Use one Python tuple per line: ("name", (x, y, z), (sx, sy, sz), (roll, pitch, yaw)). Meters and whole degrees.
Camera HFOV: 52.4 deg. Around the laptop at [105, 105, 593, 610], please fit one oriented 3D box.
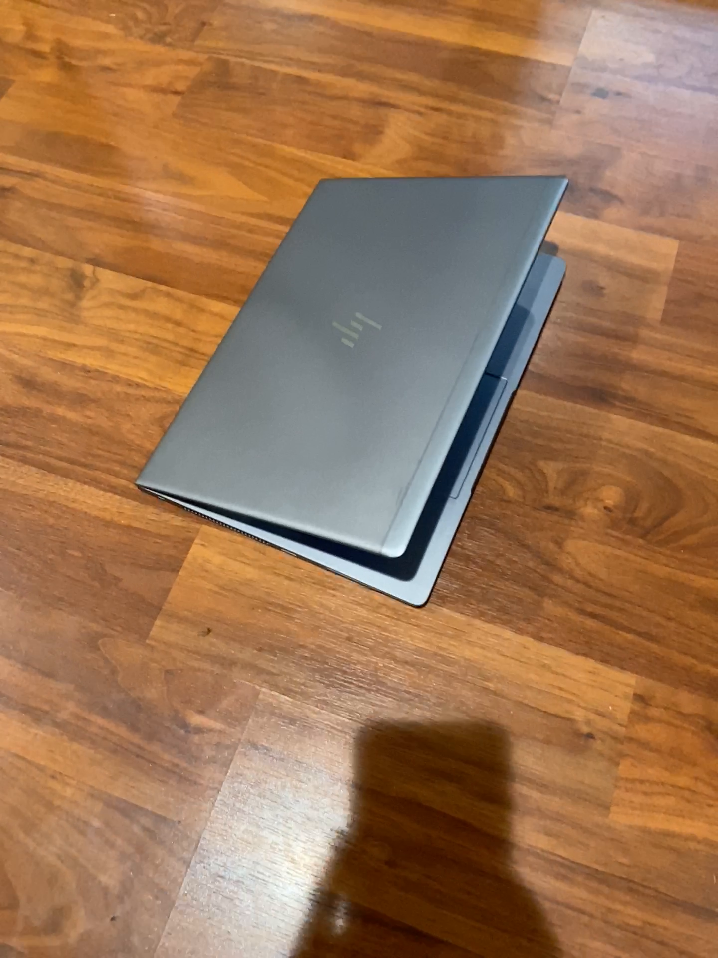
("laptop", (0.006, -0.105, 0.548), (0.230, 0.078, 0.325), (22, 69, 10))
